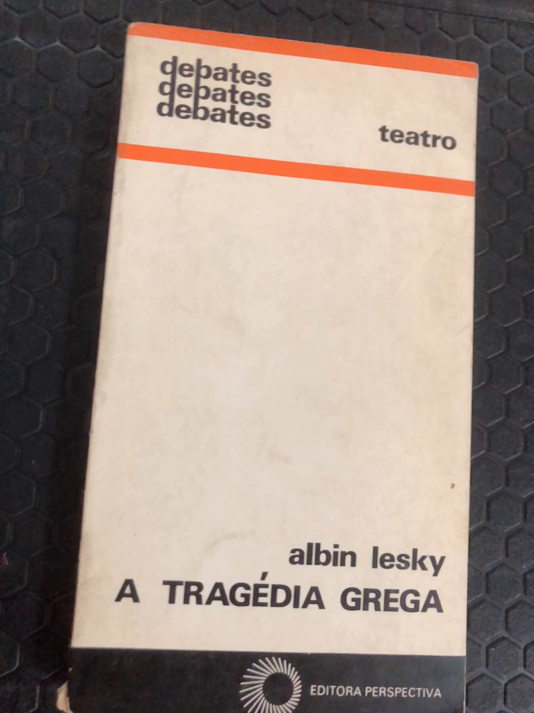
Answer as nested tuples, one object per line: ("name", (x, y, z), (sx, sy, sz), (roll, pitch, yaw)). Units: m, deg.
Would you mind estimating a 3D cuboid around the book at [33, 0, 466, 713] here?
("book", (0.000, -0.001, 0.185), (0.114, 0.020, 0.207), (4, 83, -6))
